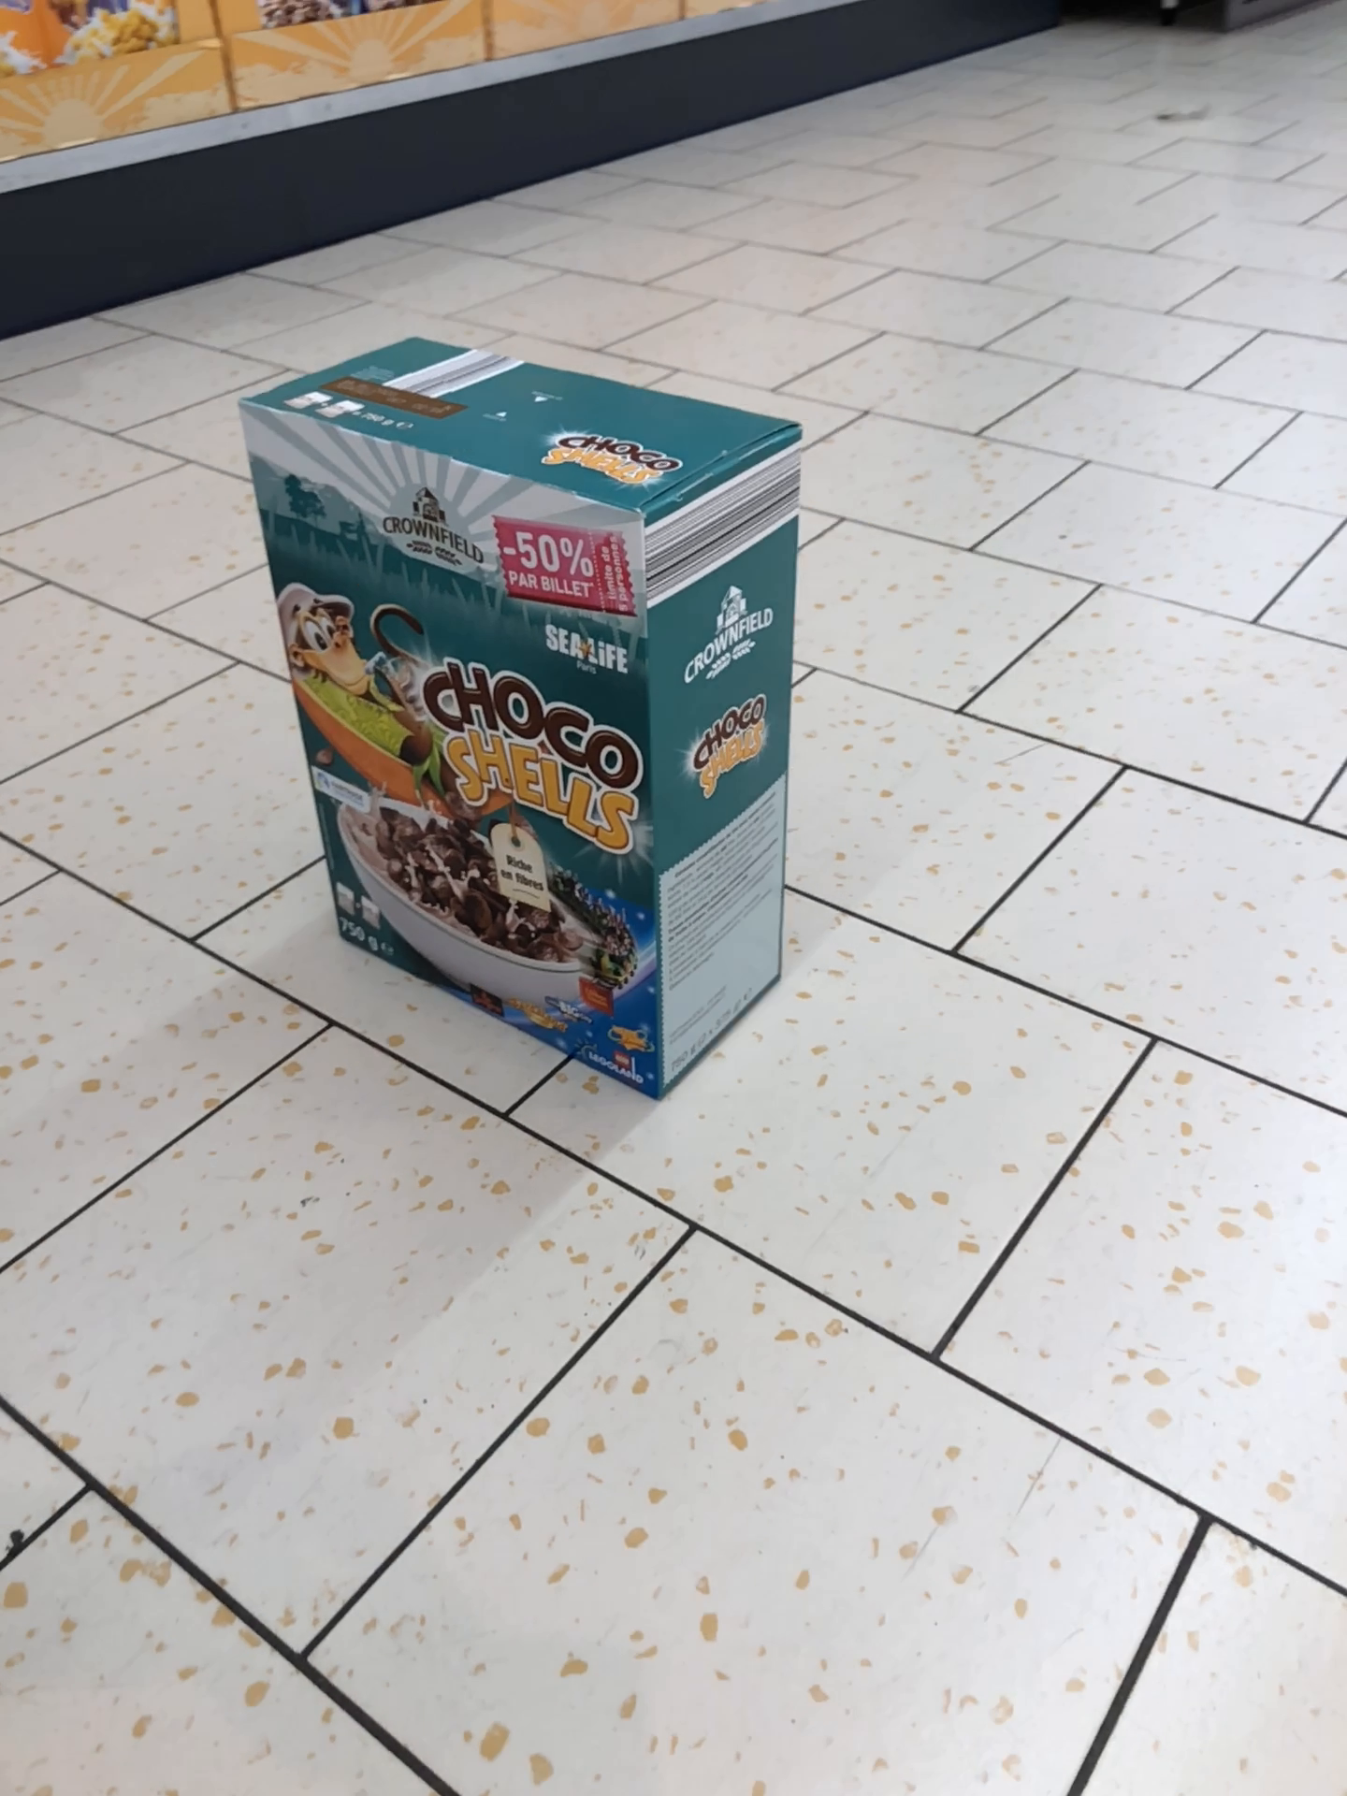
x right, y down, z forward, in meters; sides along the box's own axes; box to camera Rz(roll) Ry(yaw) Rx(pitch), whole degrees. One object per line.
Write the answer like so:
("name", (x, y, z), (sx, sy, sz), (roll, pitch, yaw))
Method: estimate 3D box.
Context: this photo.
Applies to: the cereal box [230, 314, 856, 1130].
("cereal box", (-0.048, -0.074, 0.610), (0.210, 0.268, 0.101), (23, 43, 29))
